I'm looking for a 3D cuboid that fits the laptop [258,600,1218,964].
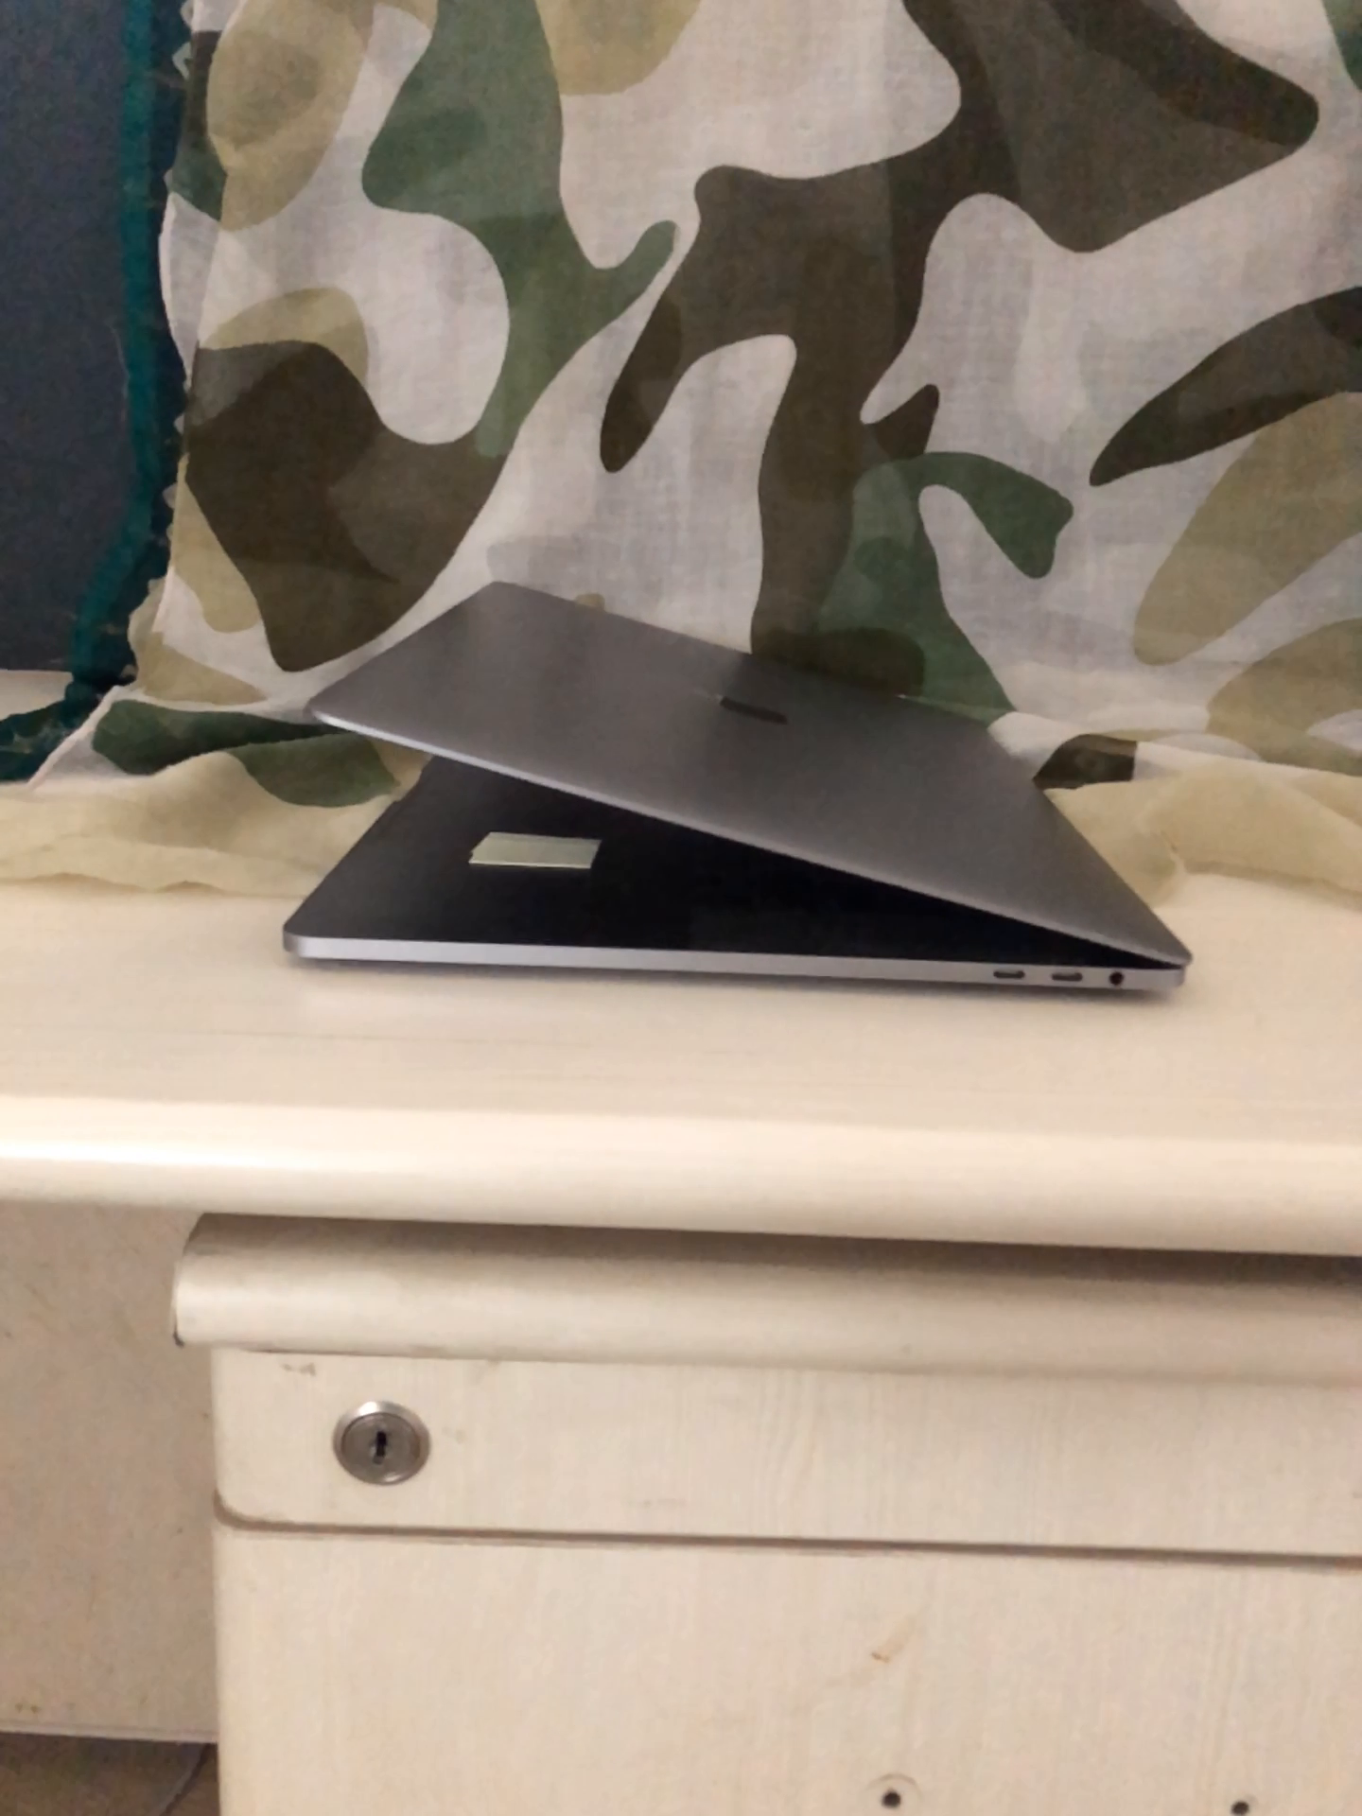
[{"bbox_3d":[0.019,-0.065,0.540,0.236,0.058,0.340,2,16,2],"label":"laptop"}]
